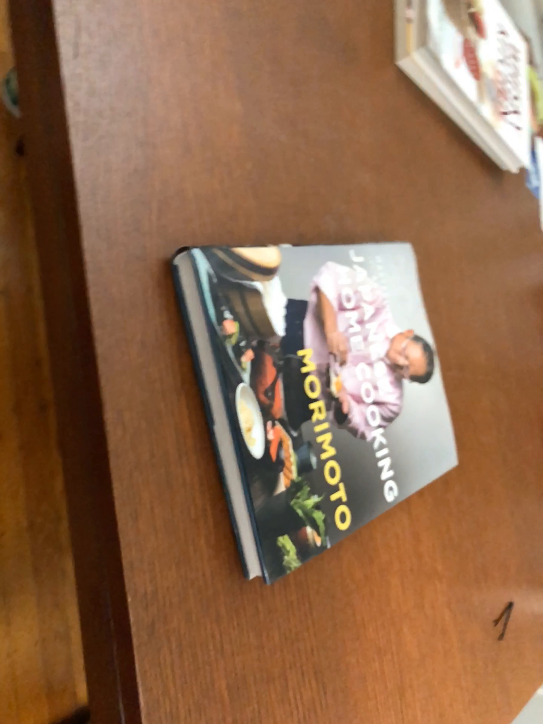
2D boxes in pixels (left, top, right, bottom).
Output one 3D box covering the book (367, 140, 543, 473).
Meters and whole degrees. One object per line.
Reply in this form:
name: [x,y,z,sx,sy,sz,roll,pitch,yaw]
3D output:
book: [0.186,-0.026,0.542,0.301,0.030,0.220,18,68,-43]
